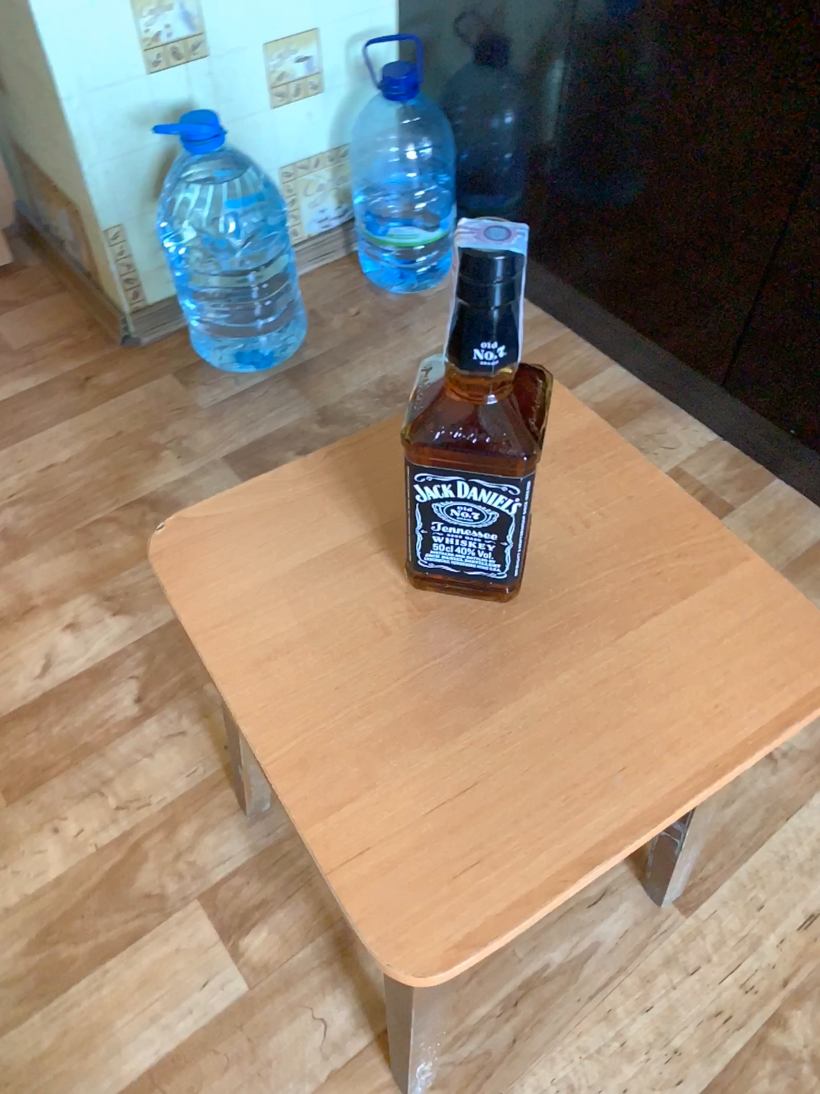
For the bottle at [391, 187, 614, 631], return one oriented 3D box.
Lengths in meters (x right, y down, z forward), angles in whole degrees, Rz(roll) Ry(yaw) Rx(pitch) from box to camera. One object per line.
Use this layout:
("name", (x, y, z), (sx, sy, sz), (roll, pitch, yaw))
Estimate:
("bottle", (0.039, -0.055, 0.417), (0.080, 0.209, 0.080), (0, 52, 0))
